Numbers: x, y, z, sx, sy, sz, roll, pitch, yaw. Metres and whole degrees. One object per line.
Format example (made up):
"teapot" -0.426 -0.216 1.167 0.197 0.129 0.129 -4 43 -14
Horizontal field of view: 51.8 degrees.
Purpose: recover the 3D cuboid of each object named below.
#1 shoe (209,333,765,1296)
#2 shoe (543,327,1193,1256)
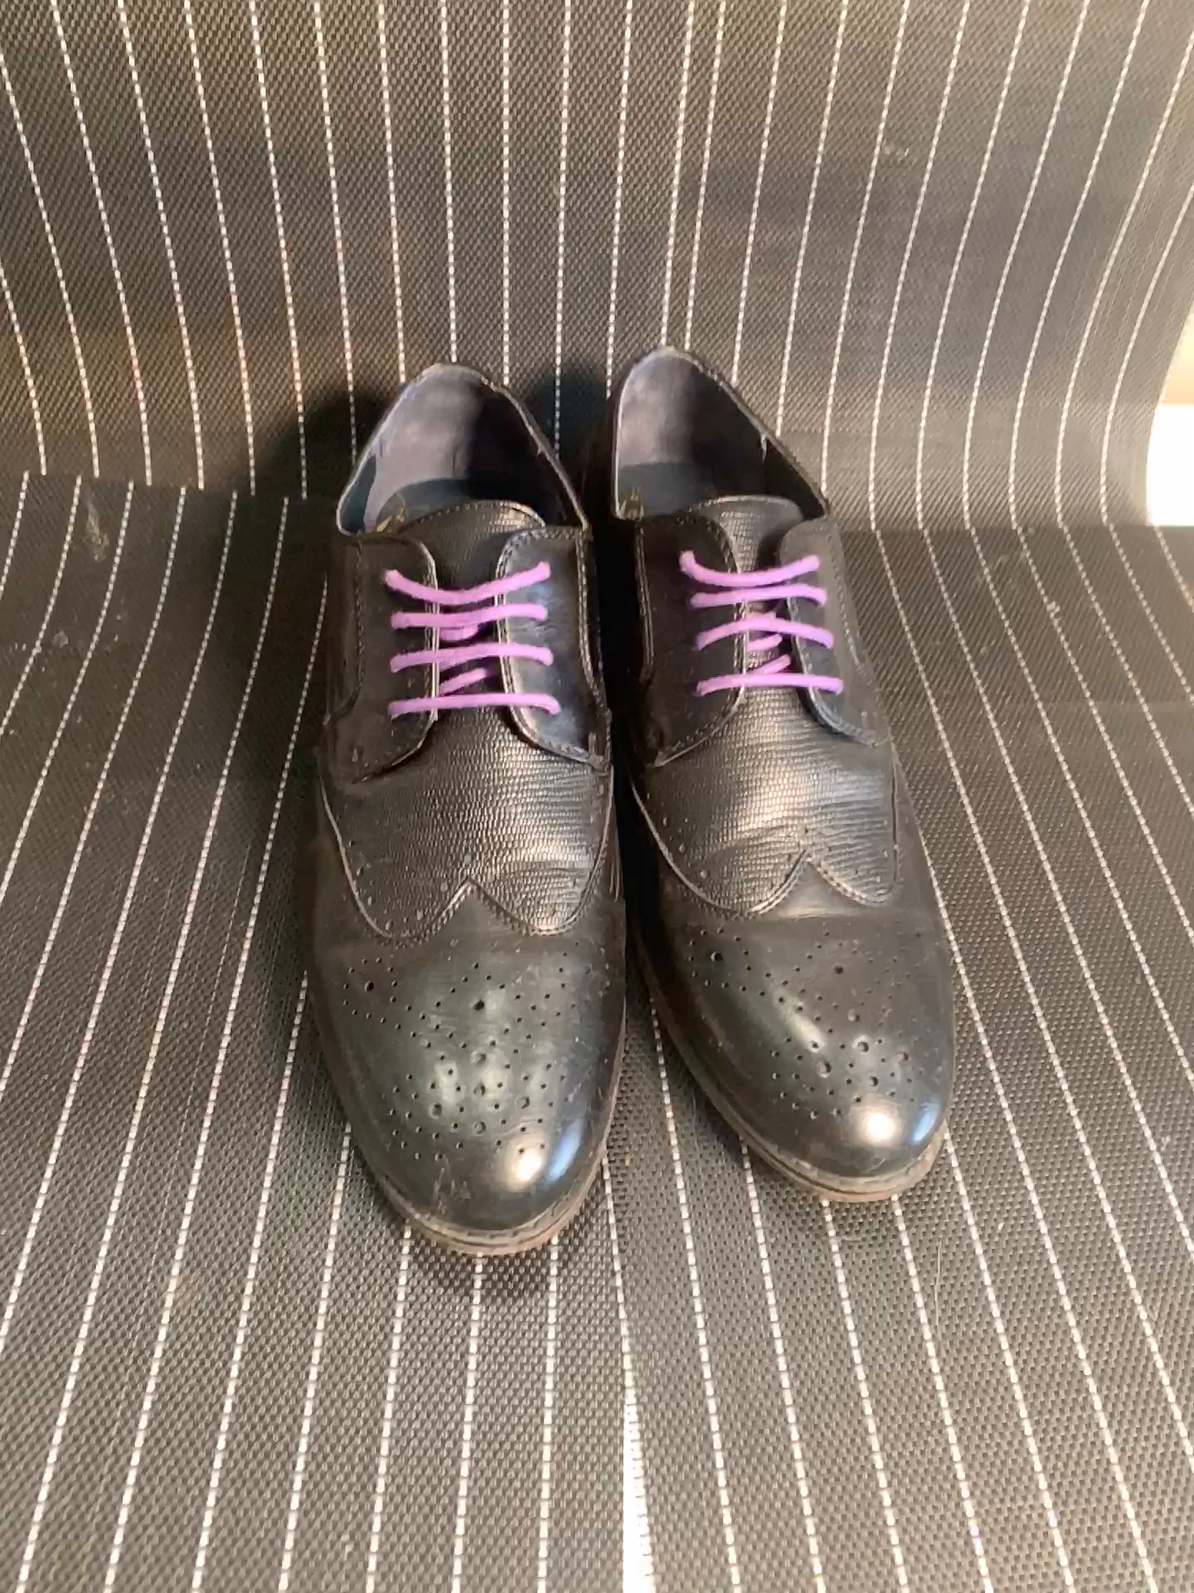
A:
"shoe" -0.038 -0.015 0.394 0.120 0.100 0.301 -2 54 -6
"shoe" 0.057 -0.021 0.382 0.110 0.090 0.281 -5 55 -8
